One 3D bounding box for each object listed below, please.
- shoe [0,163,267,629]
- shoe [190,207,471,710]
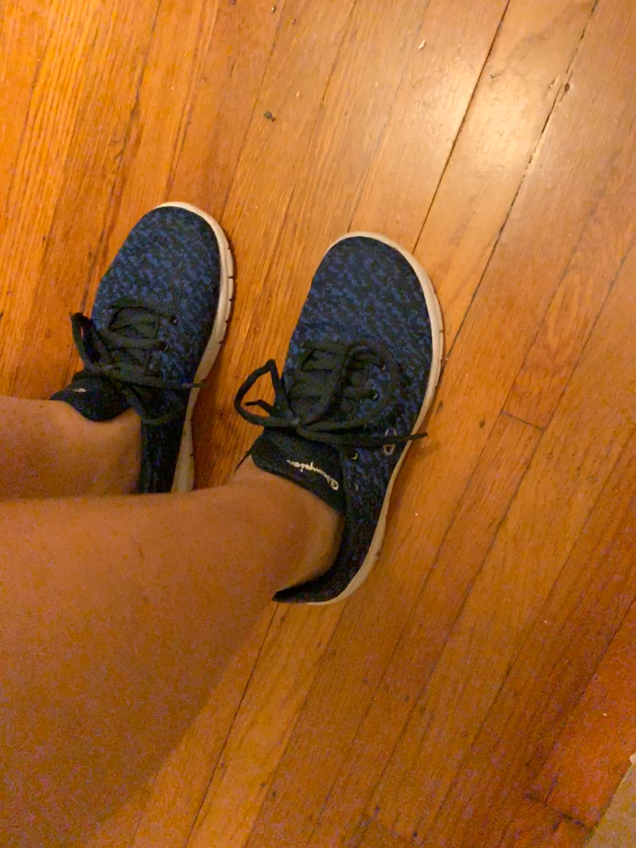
[{"bbox_3d":[-0.144,-0.024,0.501,0.116,0.149,0.290,14,103,17],"label":"shoe"},{"bbox_3d":[0.011,0.015,0.443,0.118,0.130,0.280,12,102,17],"label":"shoe"}]
